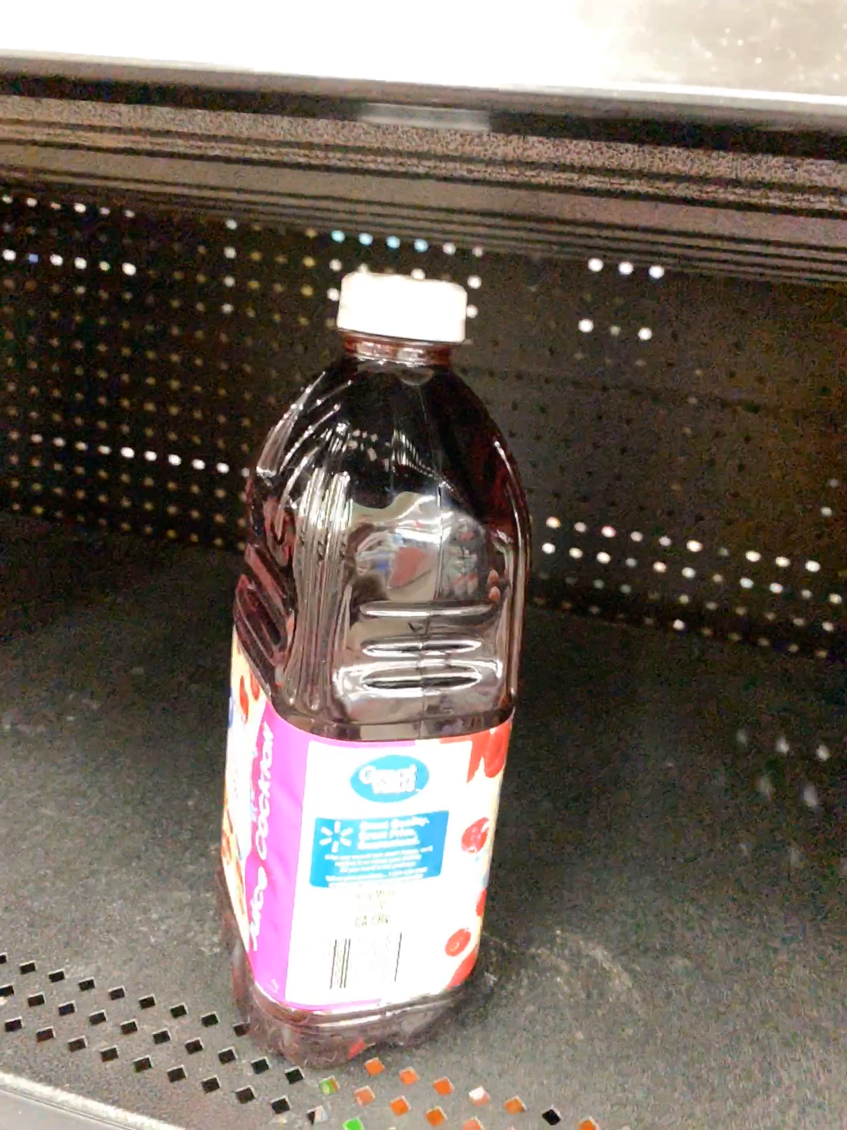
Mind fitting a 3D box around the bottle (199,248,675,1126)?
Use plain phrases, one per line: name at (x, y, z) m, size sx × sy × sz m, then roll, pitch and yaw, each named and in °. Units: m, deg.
bottle at (-0.015, 0.032, 0.311) m, size 0.100 × 0.259 × 0.125 m, roll -2°, pitch 20°, yaw -23°
